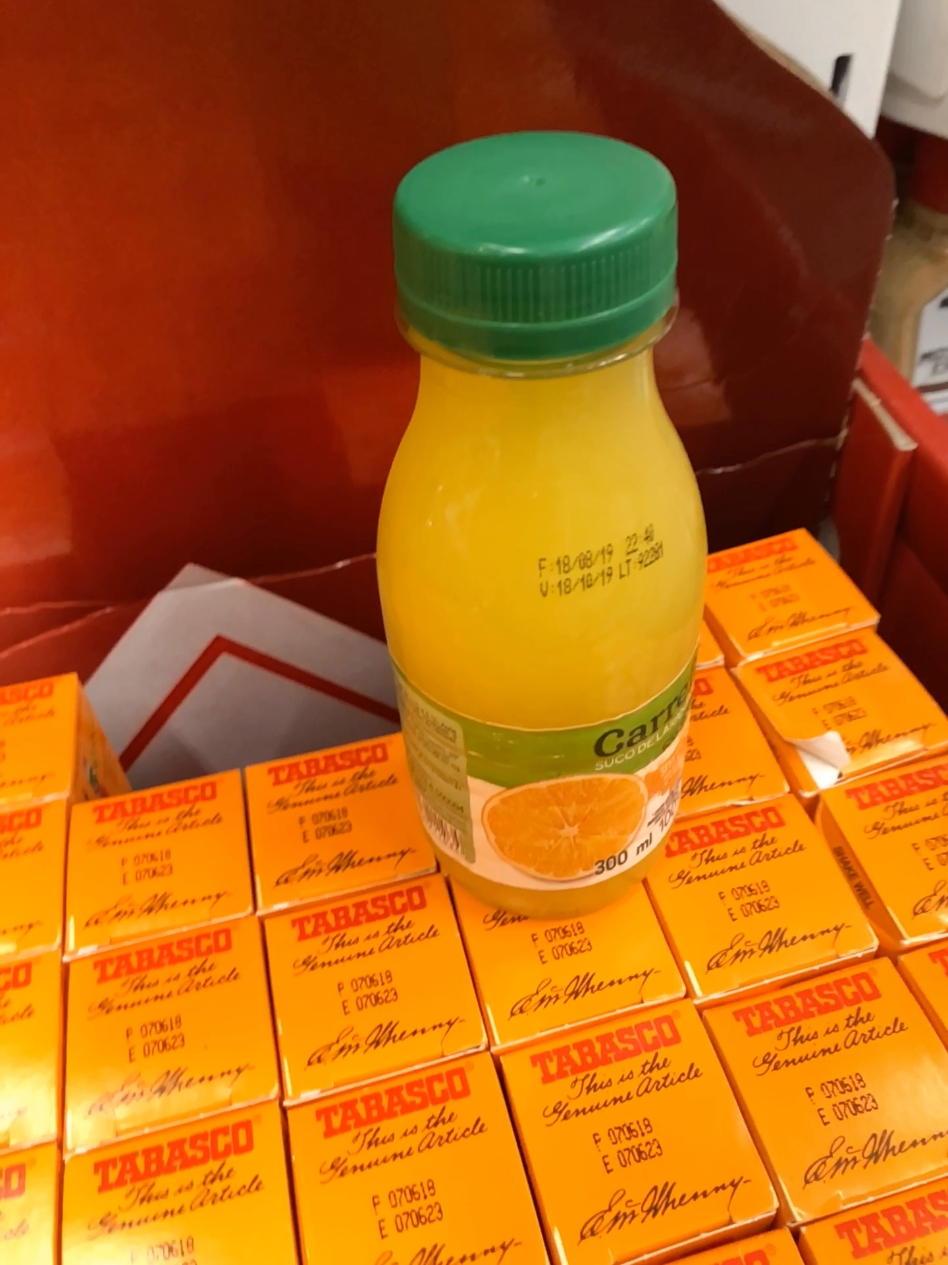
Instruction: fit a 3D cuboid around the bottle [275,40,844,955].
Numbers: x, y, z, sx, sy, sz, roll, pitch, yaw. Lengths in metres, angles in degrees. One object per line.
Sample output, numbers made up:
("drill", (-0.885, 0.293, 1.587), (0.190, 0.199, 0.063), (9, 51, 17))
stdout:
("bottle", (0.017, -0.014, 0.193), (0.050, 0.149, 0.060), (26, 53, 28))
